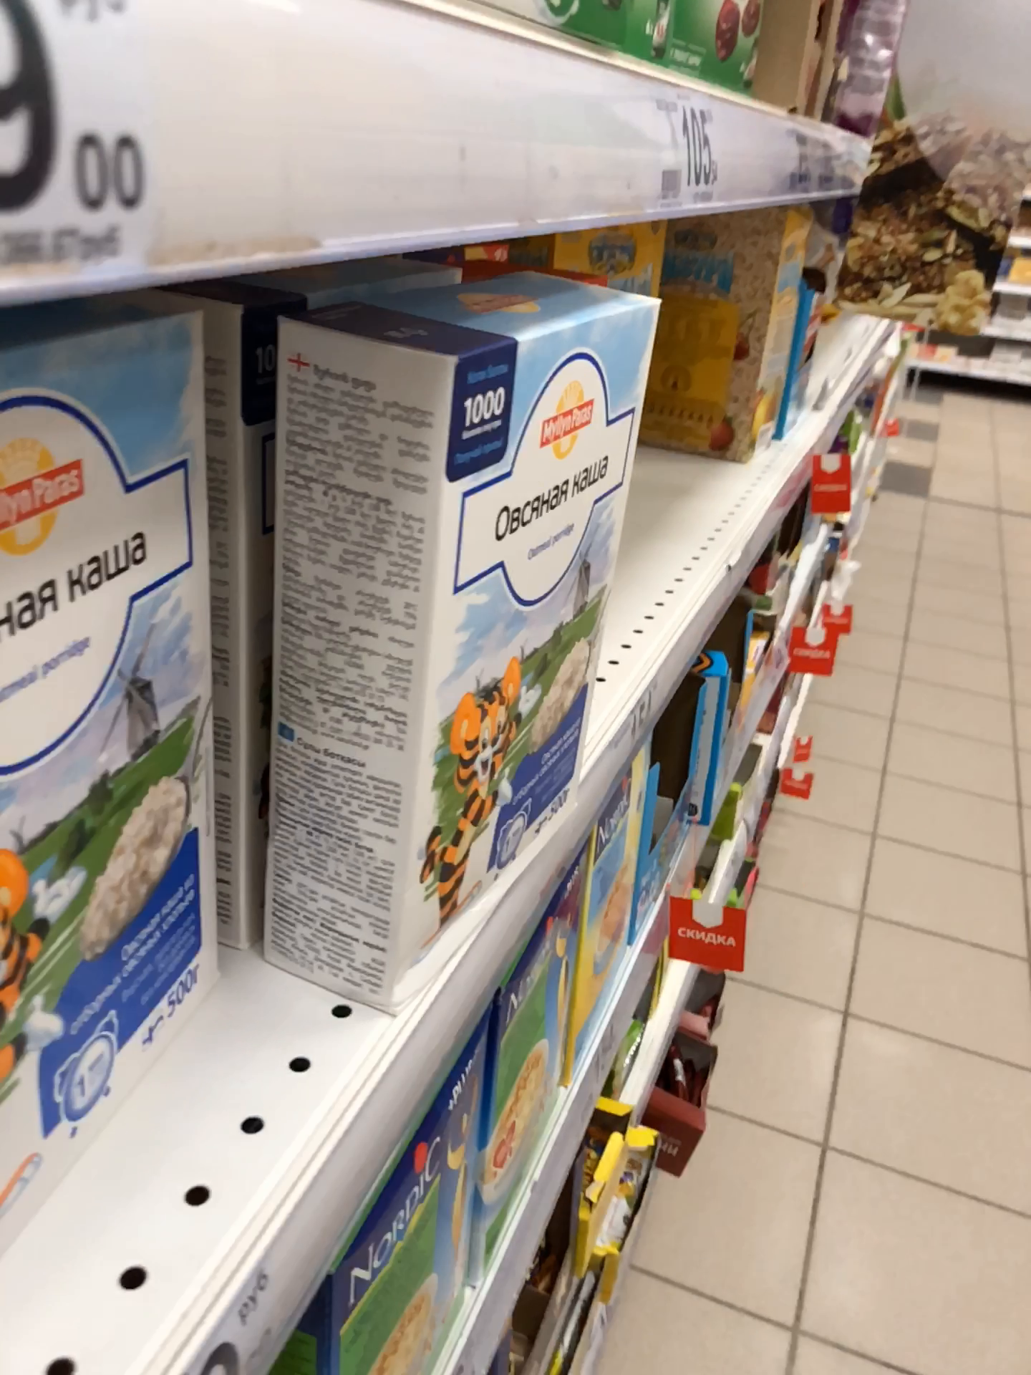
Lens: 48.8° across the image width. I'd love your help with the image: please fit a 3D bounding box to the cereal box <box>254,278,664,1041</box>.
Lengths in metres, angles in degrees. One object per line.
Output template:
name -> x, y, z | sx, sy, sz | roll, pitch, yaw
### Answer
cereal box -> -0.017, -0.018, 0.377 | 0.050, 0.209, 0.151 | 18, 28, 20
